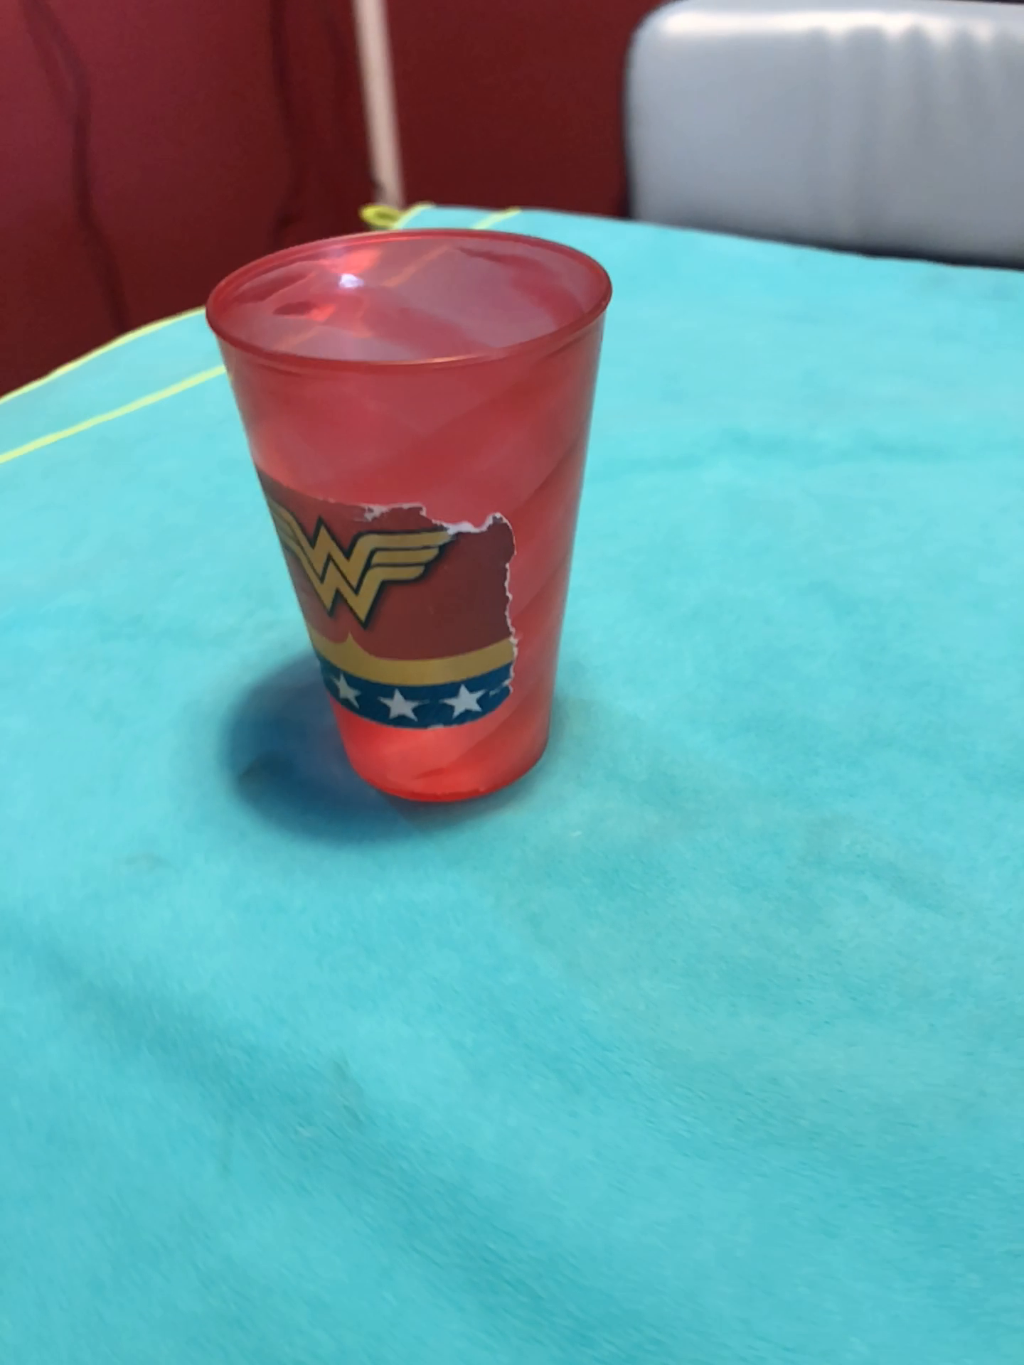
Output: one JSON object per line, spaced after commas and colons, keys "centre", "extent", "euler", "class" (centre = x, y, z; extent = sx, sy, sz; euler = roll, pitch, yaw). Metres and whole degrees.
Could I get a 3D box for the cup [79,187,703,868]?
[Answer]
{"centre": [-0.019, -0.041, 0.265], "extent": [0.090, 0.109, 0.090], "euler": [-2, 37, 1], "class": "cup"}
